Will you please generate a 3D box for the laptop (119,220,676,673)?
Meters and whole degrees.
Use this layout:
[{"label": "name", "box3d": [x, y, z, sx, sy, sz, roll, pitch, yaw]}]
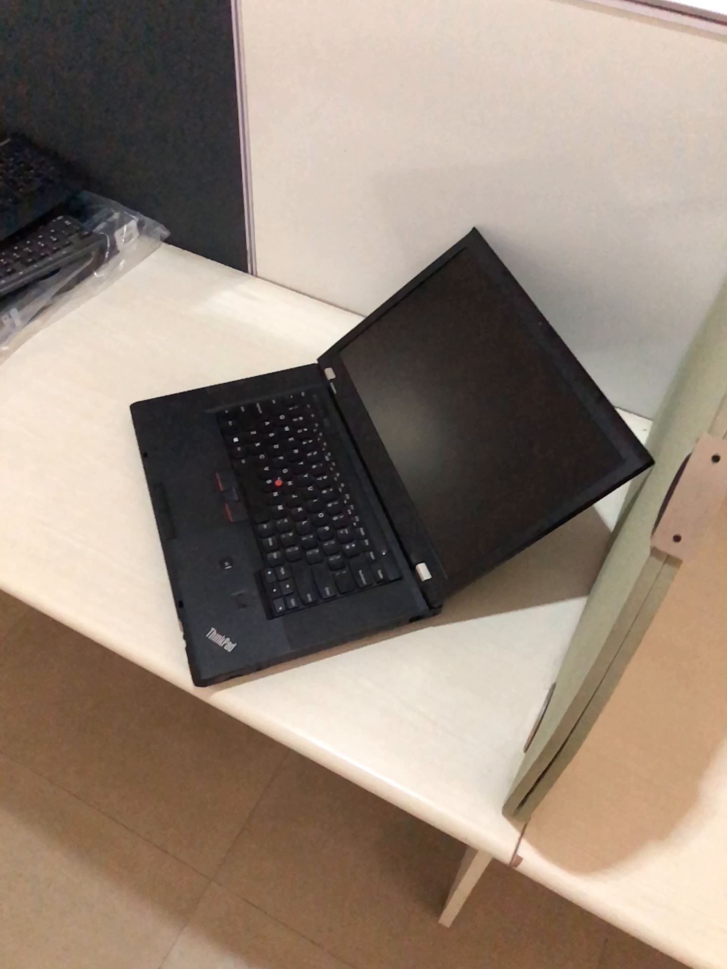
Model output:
[{"label": "laptop", "box3d": [0.001, -0.062, 0.789, 0.411, 0.142, 0.355, -15, 52, -10]}]
